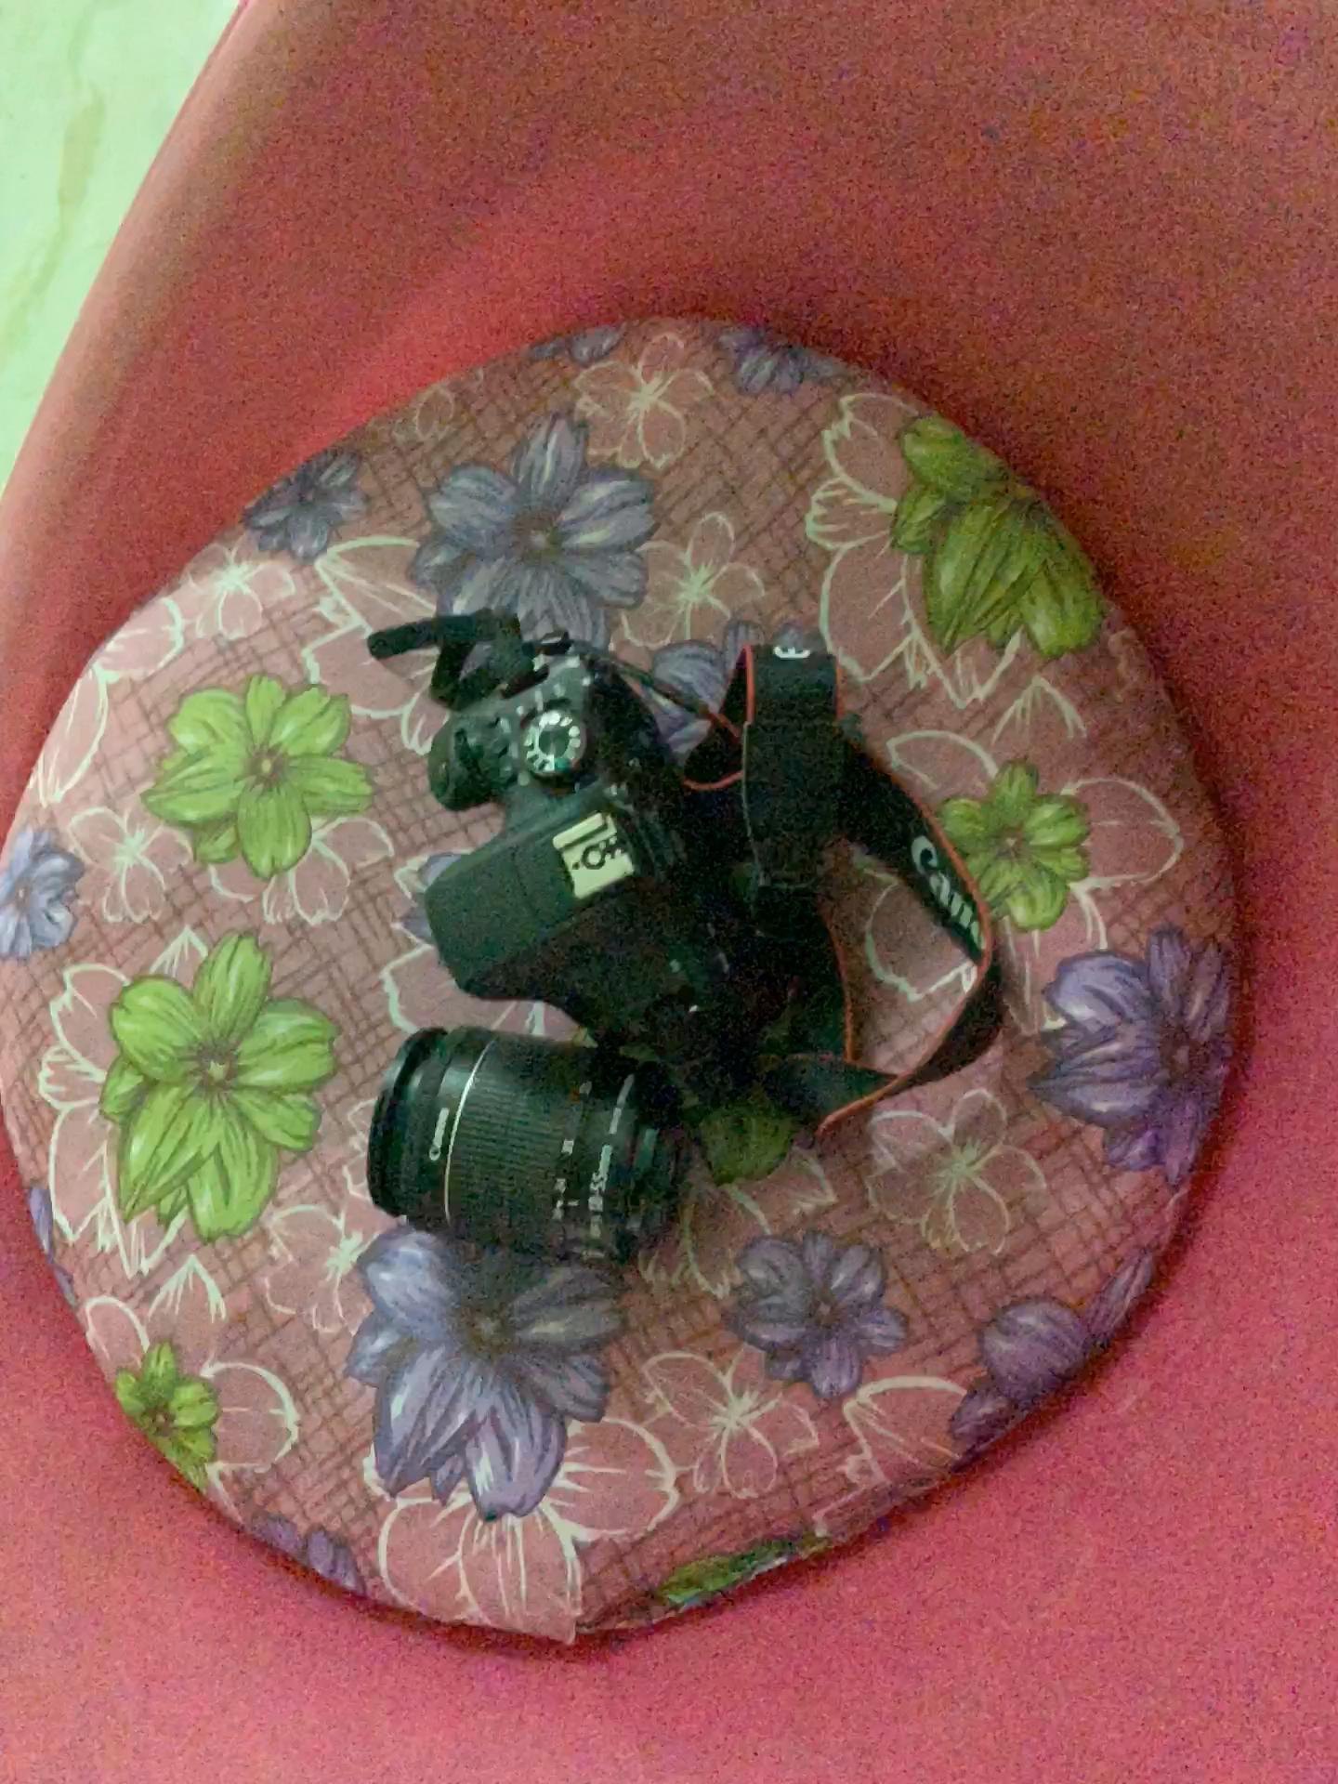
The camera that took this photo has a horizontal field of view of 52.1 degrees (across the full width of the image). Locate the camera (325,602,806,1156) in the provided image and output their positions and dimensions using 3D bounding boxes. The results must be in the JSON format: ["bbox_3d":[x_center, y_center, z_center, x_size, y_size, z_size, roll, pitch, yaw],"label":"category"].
[{"bbox_3d":[-0.033,0.000,0.443,0.086,0.078,0.143,-29,71,11],"label":"camera"}]
